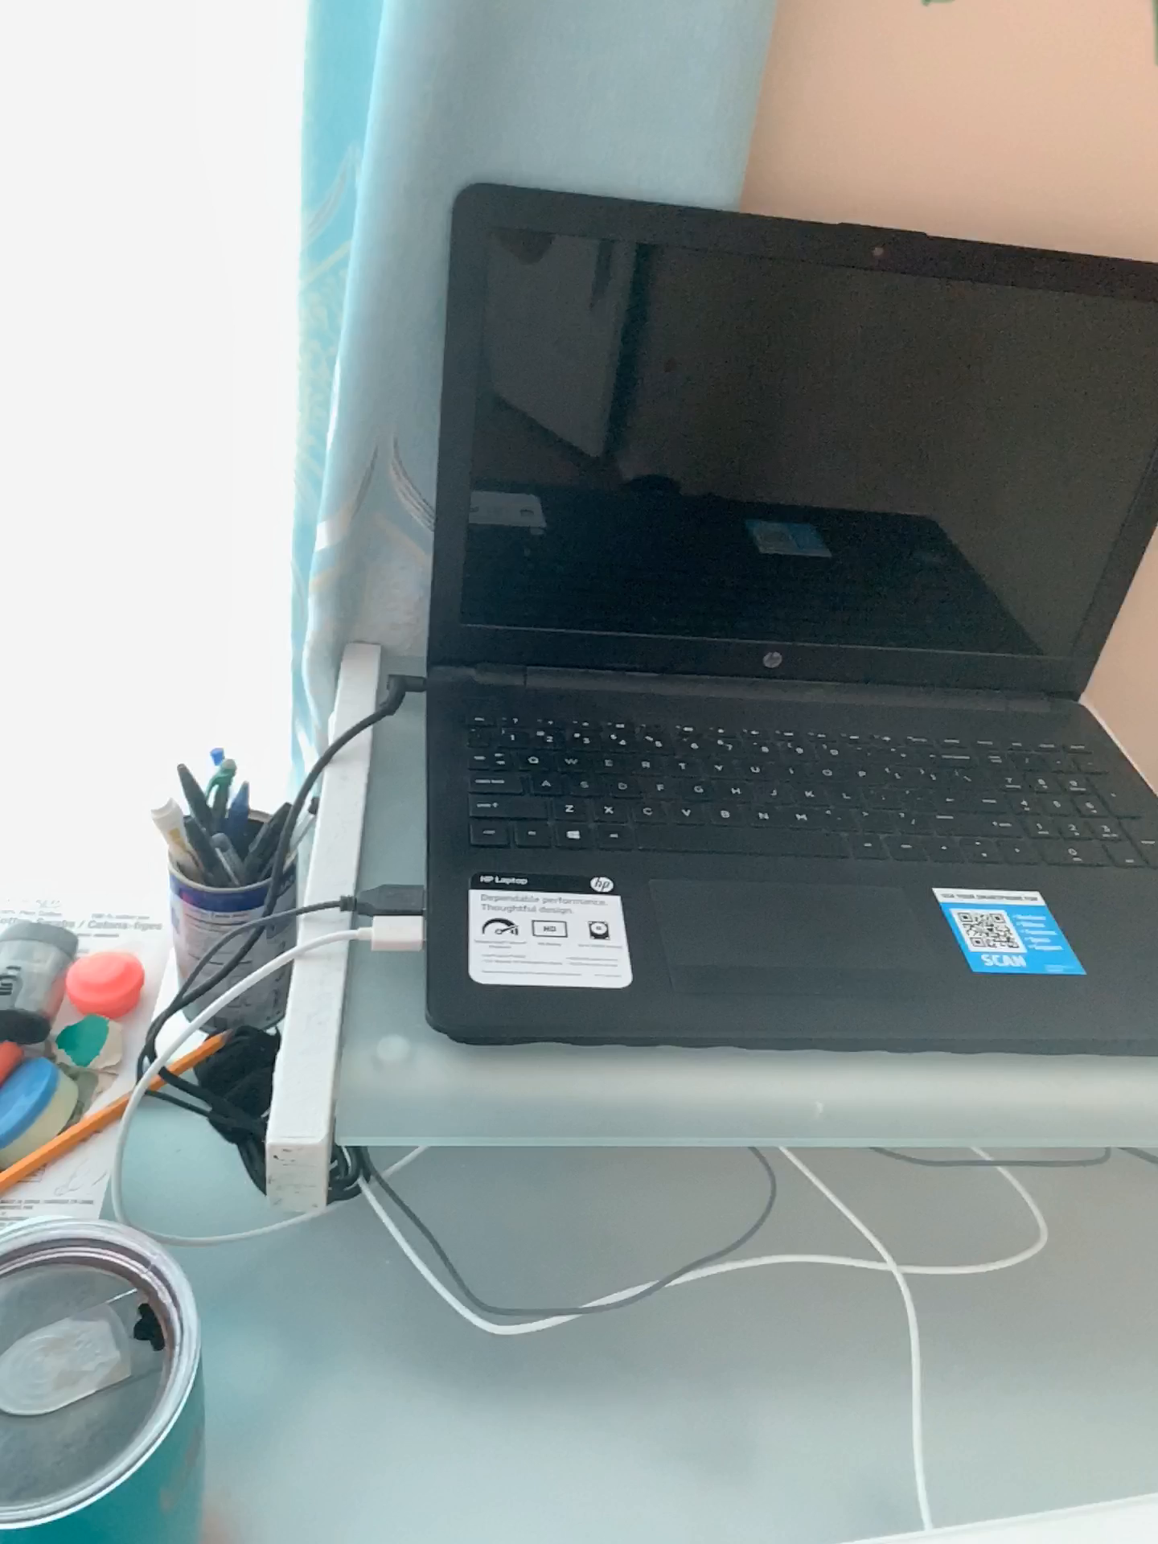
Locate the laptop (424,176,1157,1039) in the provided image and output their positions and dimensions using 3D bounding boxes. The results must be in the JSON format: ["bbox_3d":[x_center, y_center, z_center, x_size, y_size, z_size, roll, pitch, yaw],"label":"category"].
[{"bbox_3d":[0.126,-0.068,0.483,0.358,0.225,0.247,3,36,-10],"label":"laptop"}]
